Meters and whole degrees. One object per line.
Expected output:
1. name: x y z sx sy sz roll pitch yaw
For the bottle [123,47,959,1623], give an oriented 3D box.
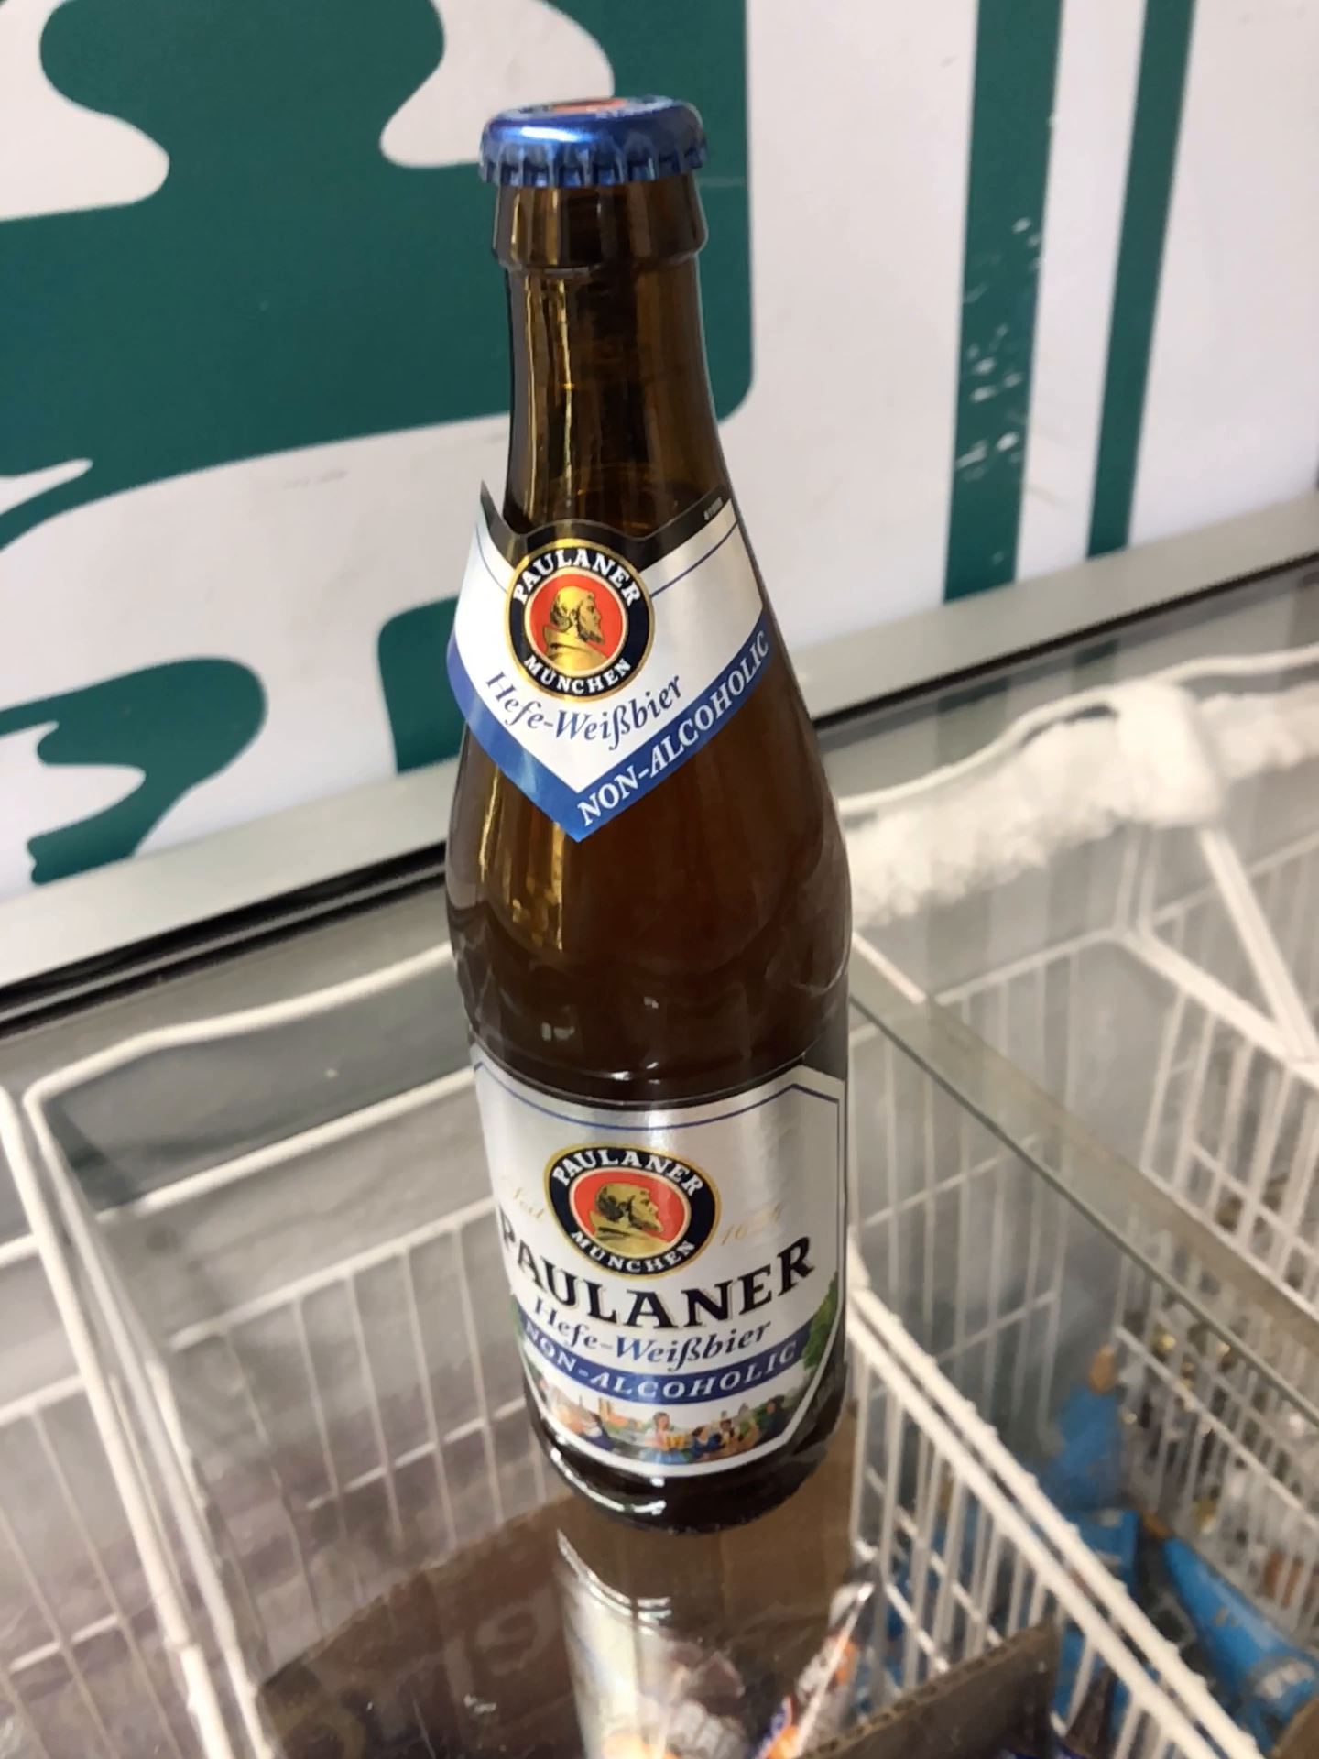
1. bottle: -0.002 0.010 0.242 0.080 0.248 0.070 6 35 15
